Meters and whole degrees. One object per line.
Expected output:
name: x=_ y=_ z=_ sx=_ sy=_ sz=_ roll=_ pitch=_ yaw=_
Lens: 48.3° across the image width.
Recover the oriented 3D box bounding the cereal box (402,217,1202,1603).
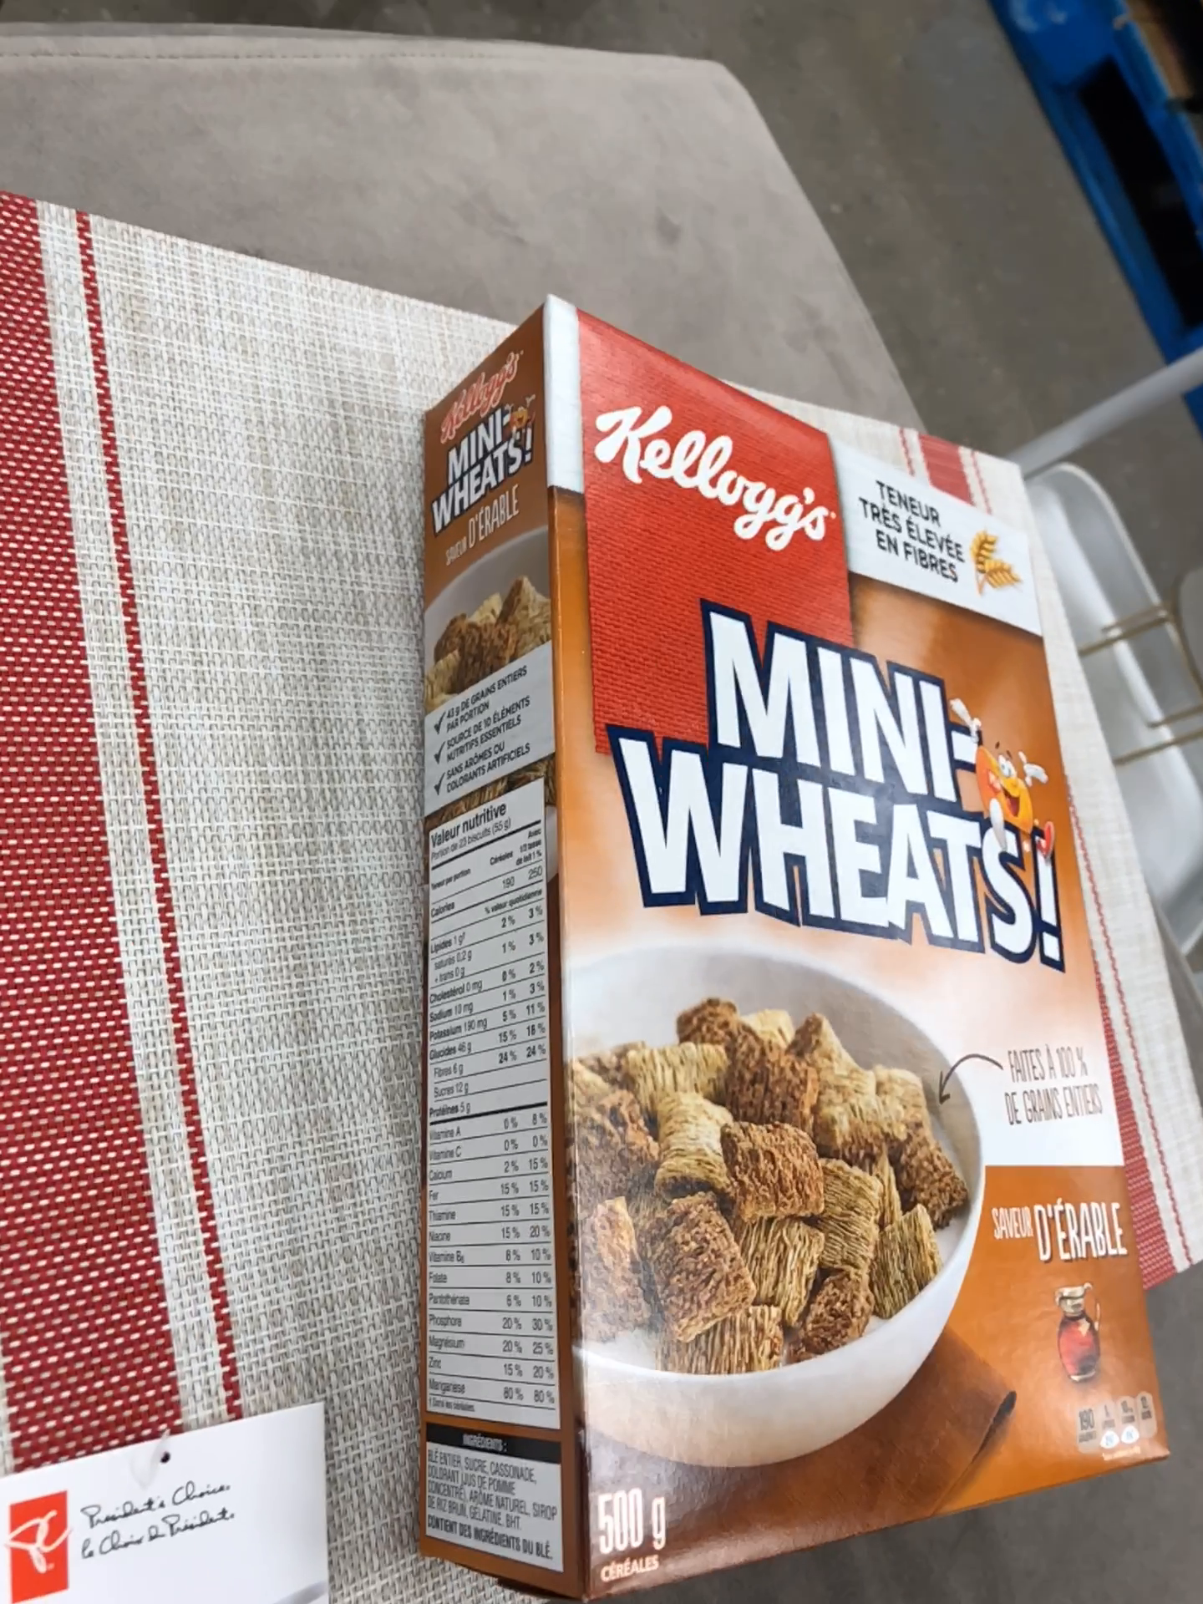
cereal box: x=0.059 y=0.030 z=0.338 sx=0.211 sy=0.060 sz=0.280 roll=12 pitch=68 yaw=-37
